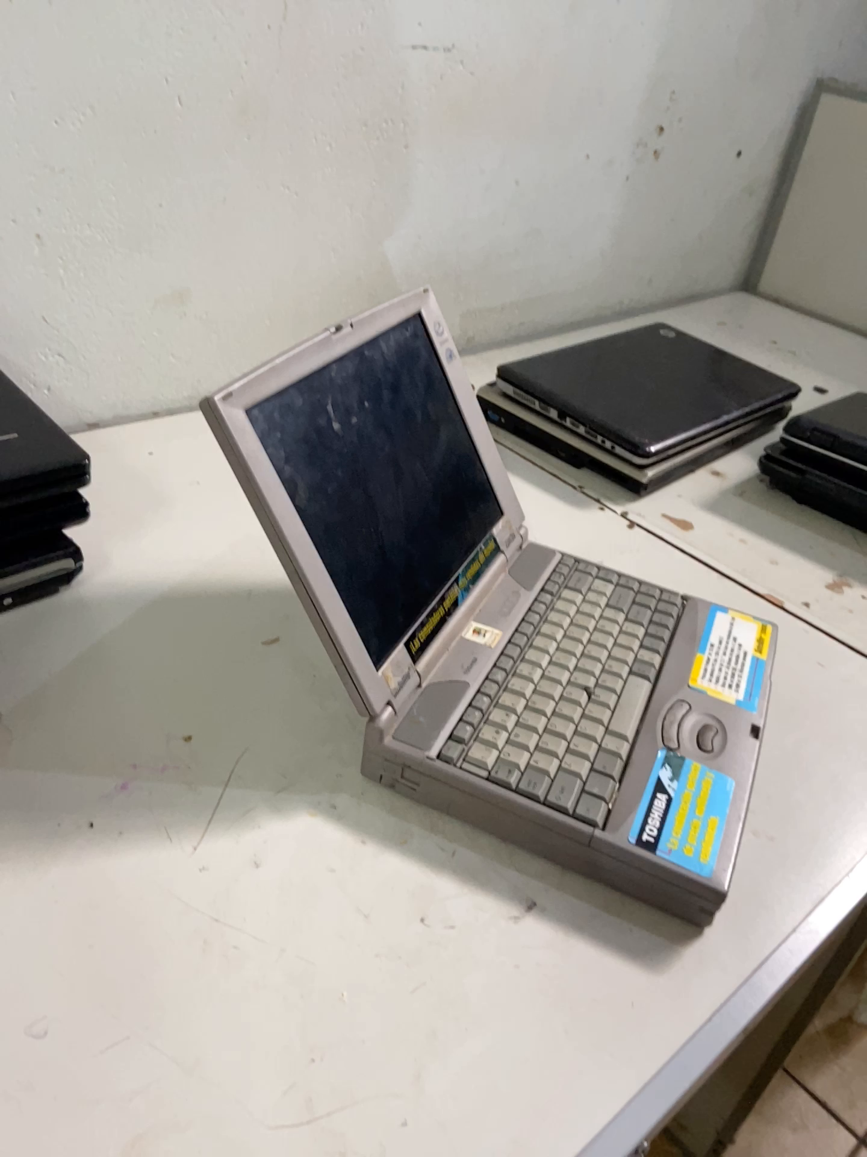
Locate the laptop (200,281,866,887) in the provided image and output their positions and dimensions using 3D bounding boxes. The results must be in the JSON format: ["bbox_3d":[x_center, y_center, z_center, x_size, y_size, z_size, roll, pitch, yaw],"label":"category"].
[{"bbox_3d":[0.080,-0.034,0.625,0.357,0.195,0.303,21,36,16],"label":"laptop"}]
